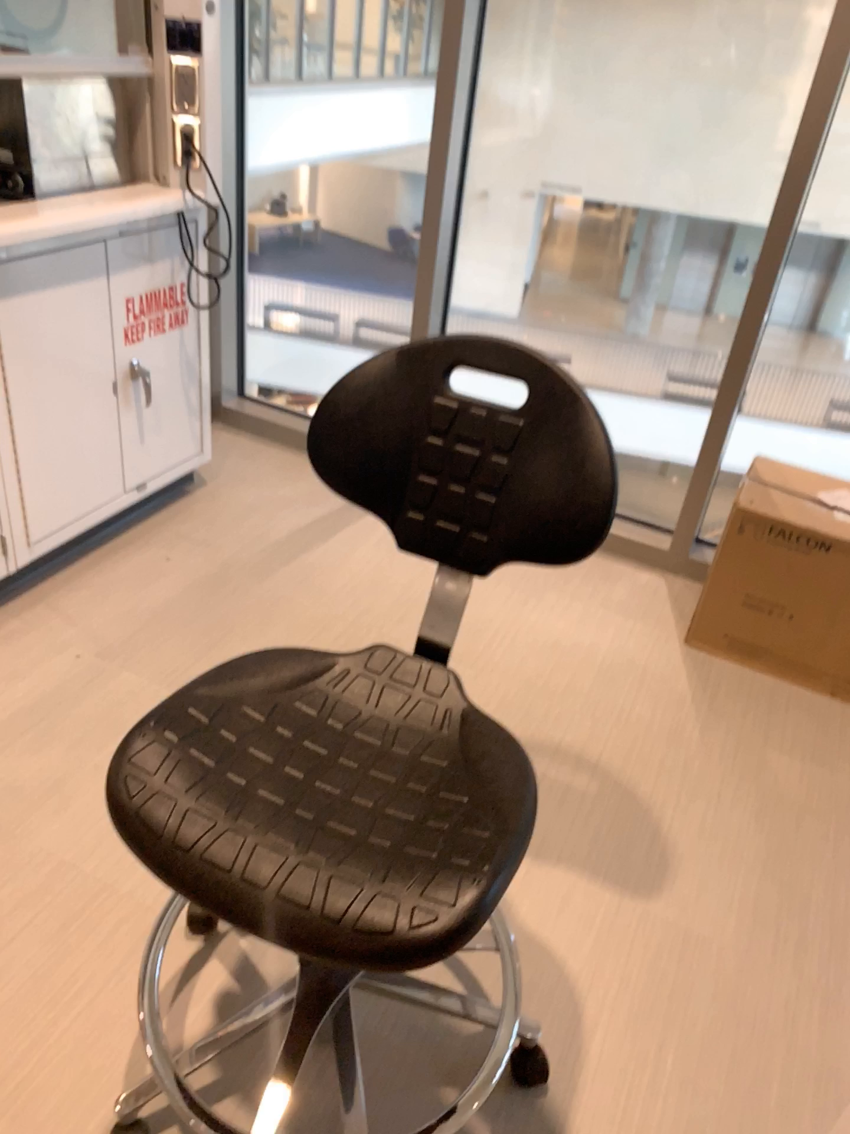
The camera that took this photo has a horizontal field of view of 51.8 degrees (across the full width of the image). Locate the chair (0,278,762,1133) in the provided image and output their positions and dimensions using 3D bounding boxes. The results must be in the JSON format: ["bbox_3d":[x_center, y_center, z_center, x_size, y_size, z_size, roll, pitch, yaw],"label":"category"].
[{"bbox_3d":[-0.081,0.265,1.079,0.670,0.962,0.665,15,33,12],"label":"chair"}]
